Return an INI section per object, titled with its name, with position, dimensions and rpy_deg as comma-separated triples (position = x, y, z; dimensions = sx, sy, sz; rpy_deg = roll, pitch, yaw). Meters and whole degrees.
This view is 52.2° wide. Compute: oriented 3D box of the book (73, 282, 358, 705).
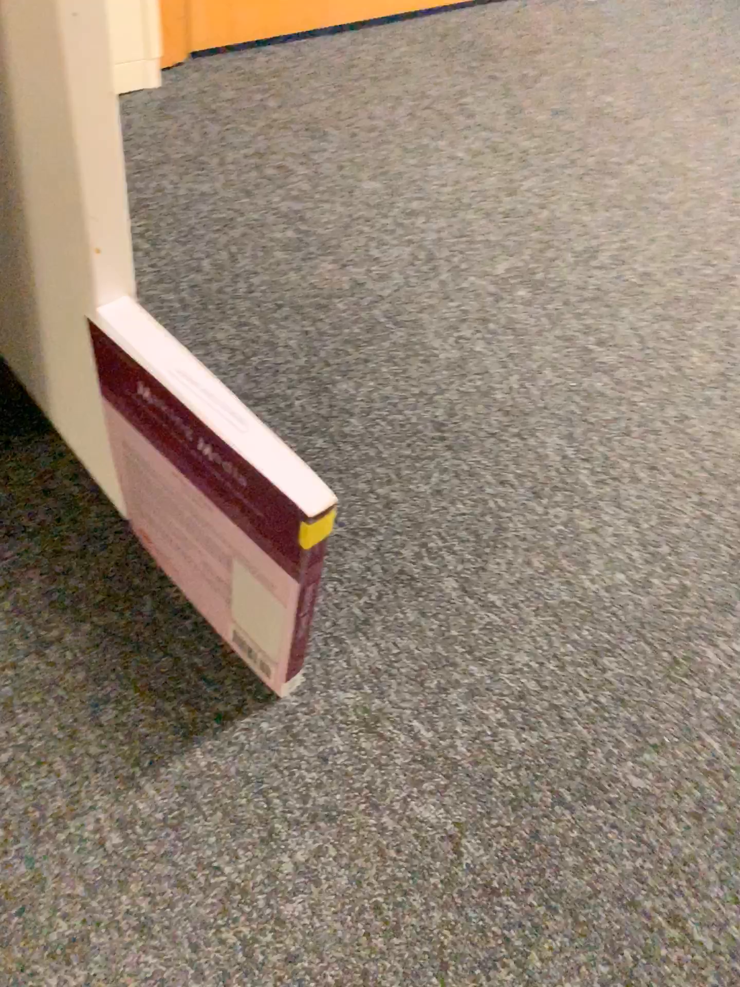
[book]
position = -0.104, 0.013, 0.499
dimensions = 0.036, 0.228, 0.201
rpy_deg = -36, 67, -30
